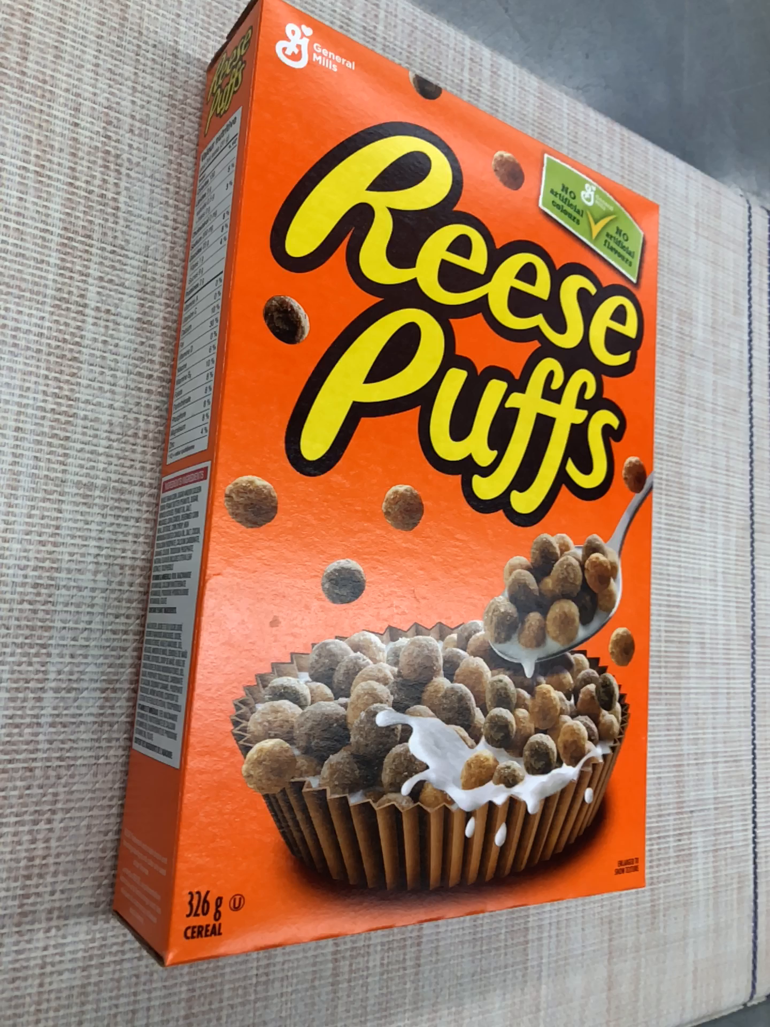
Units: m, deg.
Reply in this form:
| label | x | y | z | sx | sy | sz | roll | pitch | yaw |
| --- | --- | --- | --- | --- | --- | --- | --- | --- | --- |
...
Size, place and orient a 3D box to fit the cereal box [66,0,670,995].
| label | x | y | z | sx | sy | sz | roll | pitch | yaw |
| --- | --- | --- | --- | --- | --- | --- | --- | --- | --- |
| cereal box | 0.014 | -0.007 | 0.307 | 0.201 | 0.060 | 0.280 | 10 | 81 | -37 |
